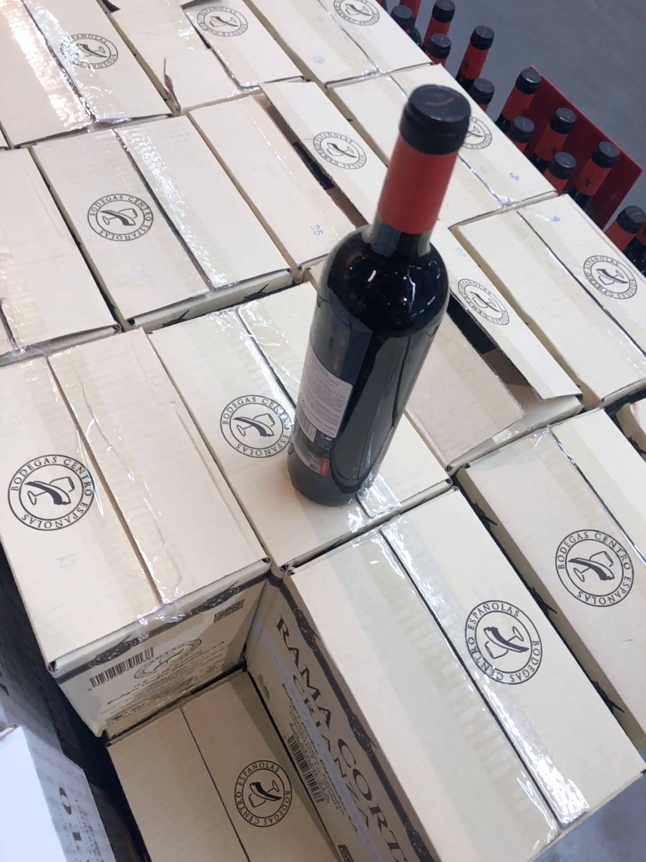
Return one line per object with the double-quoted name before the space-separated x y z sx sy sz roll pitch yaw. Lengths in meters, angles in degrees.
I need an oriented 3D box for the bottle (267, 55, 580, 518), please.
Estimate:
"bottle" 0.029 -0.050 0.425 0.090 0.298 0.090 5 59 -9
